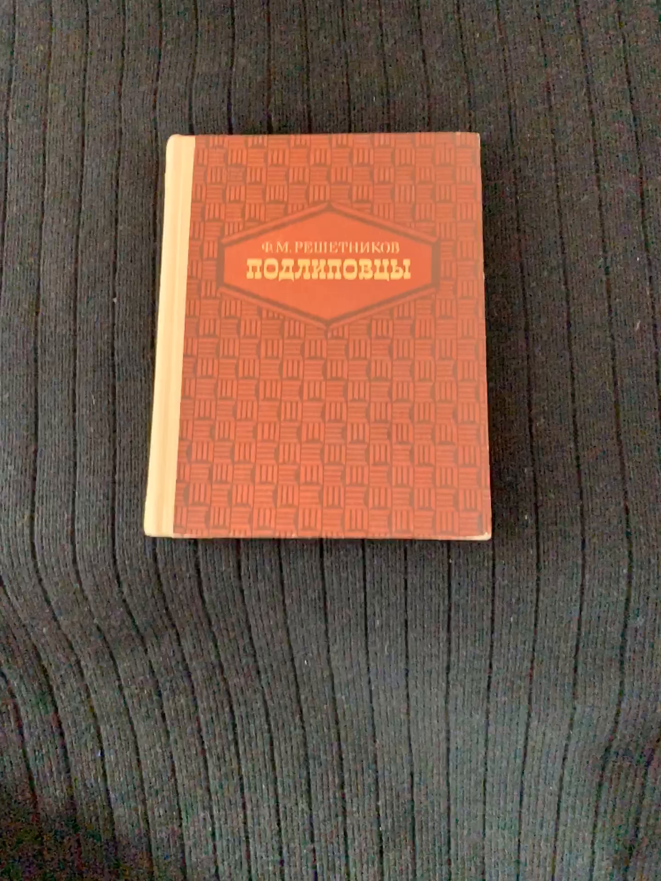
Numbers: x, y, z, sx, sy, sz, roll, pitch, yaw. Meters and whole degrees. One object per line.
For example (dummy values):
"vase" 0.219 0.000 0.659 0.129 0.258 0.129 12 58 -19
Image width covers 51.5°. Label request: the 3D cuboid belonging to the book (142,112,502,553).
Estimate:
"book" -0.003 -0.045 0.270 0.129 0.015 0.177 -1 79 2
